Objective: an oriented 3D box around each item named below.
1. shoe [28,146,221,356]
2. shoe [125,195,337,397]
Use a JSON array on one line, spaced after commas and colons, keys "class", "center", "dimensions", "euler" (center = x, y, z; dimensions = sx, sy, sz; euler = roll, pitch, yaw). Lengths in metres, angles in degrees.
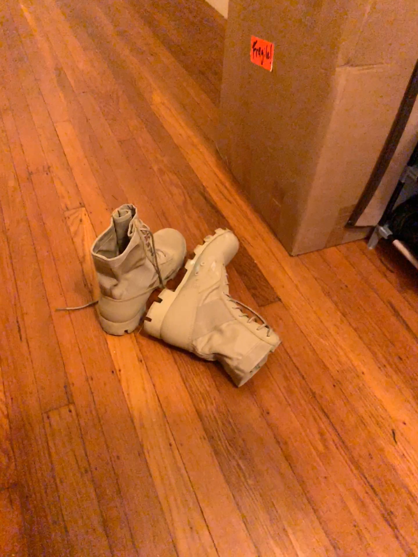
[{"class": "shoe", "center": [-0.137, -0.061, 0.812], "dimensions": [0.190, 0.199, 0.301], "euler": [24, 52, 15]}, {"class": "shoe", "center": [0.051, 0.010, 0.790], "dimensions": [0.250, 0.119, 0.311], "euler": [21, 51, 23]}]
